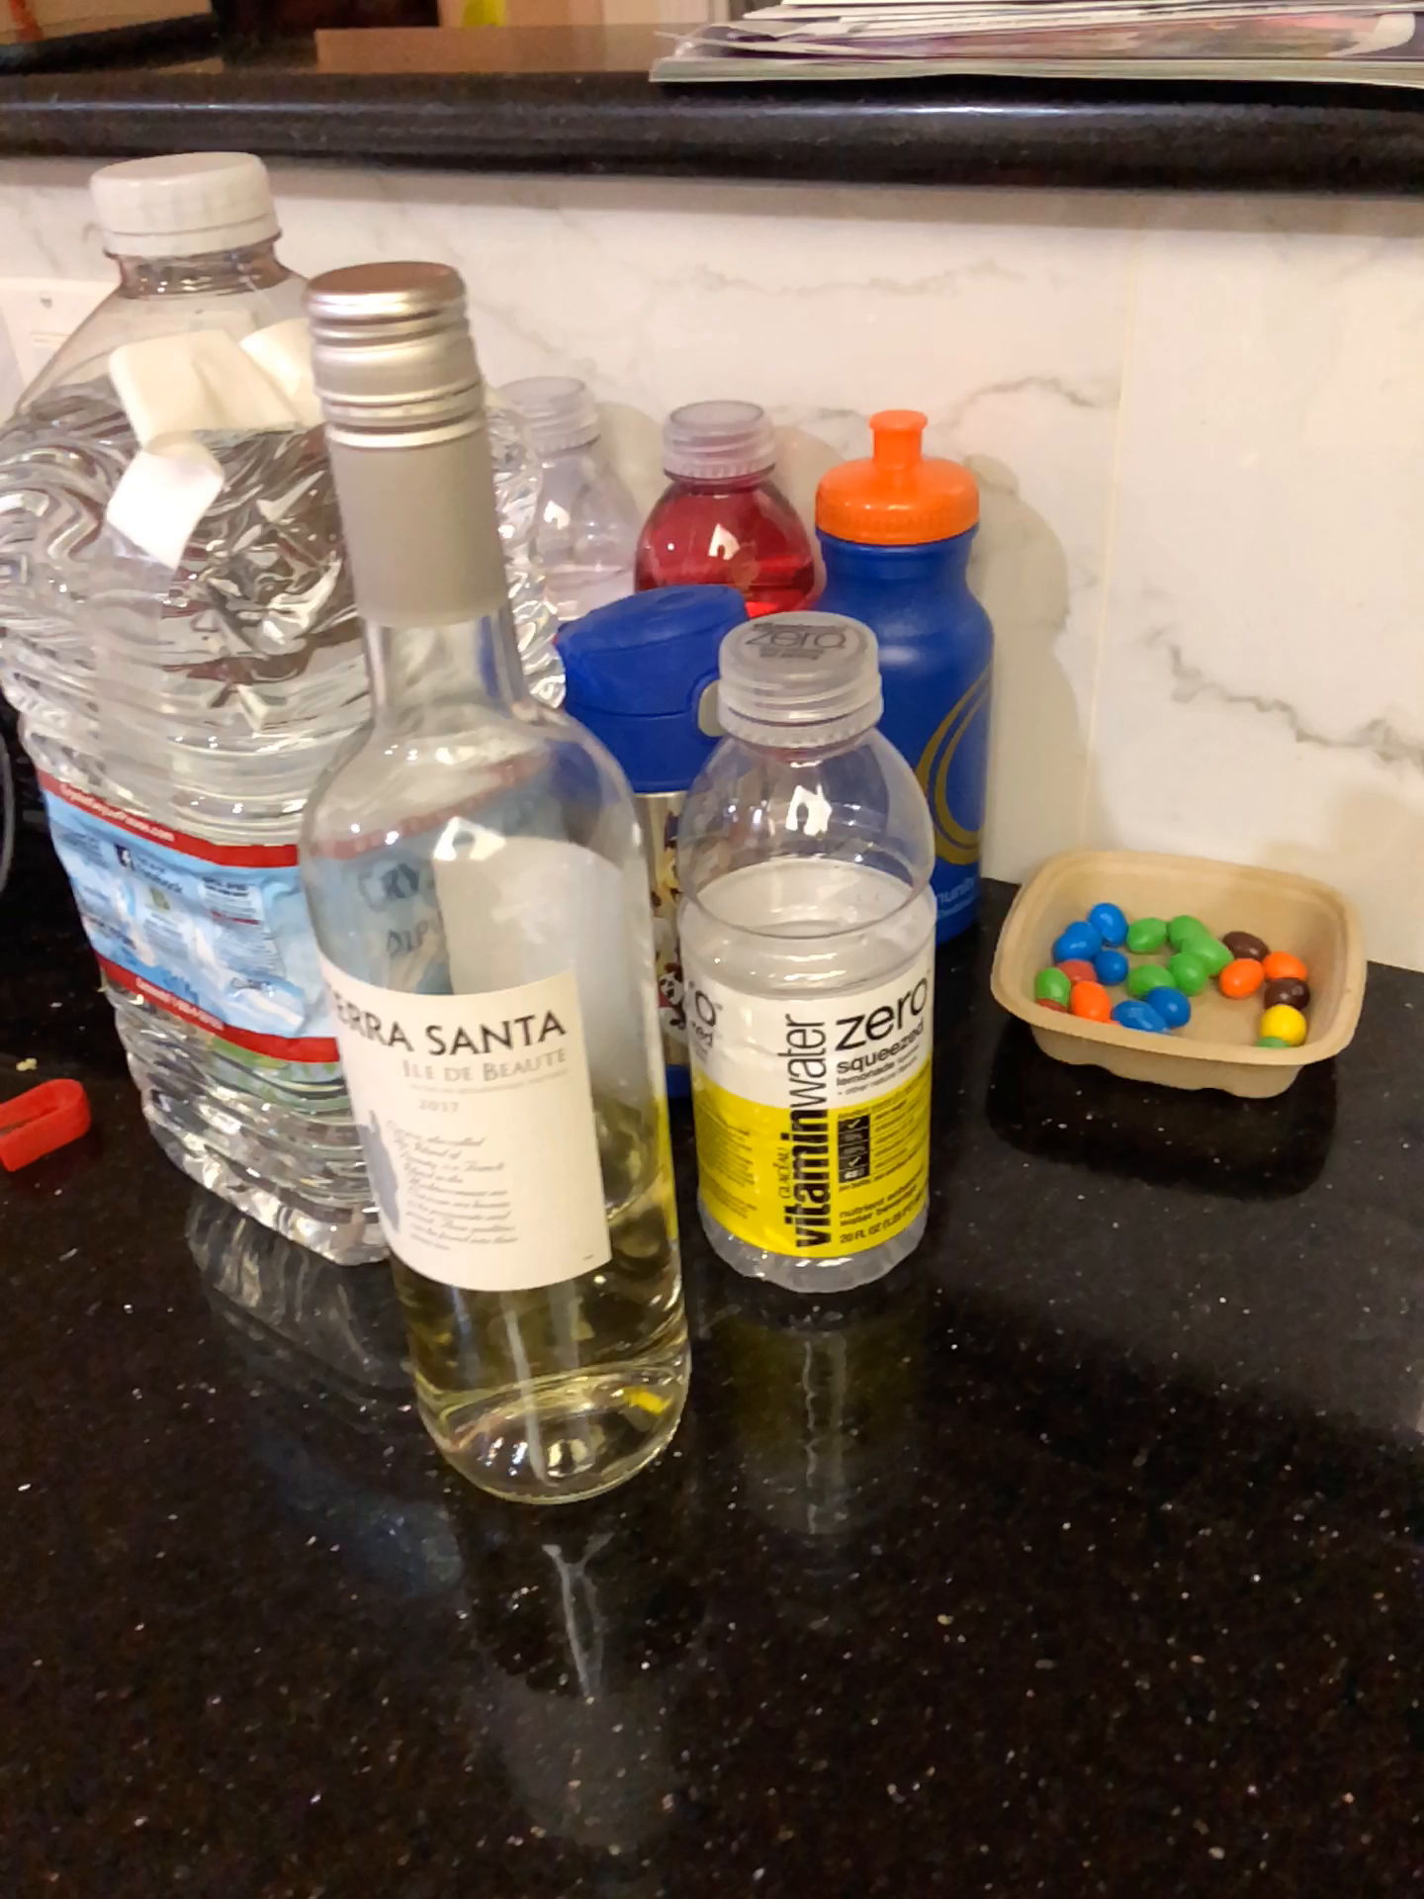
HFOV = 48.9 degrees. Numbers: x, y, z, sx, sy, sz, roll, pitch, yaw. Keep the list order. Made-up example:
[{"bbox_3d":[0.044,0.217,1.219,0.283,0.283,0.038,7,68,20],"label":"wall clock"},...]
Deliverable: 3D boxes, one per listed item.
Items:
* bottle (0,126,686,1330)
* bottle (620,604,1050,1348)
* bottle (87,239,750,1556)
[{"bbox_3d":[-0.108,-0.062,0.437,0.130,0.278,0.141,-2,34,2],"label":"bottle"},{"bbox_3d":[0.029,0.008,0.390,0.070,0.159,0.070,-2,34,2],"label":"bottle"},{"bbox_3d":[-0.044,0.004,0.330,0.070,0.268,0.070,-2,34,2],"label":"bottle"}]
